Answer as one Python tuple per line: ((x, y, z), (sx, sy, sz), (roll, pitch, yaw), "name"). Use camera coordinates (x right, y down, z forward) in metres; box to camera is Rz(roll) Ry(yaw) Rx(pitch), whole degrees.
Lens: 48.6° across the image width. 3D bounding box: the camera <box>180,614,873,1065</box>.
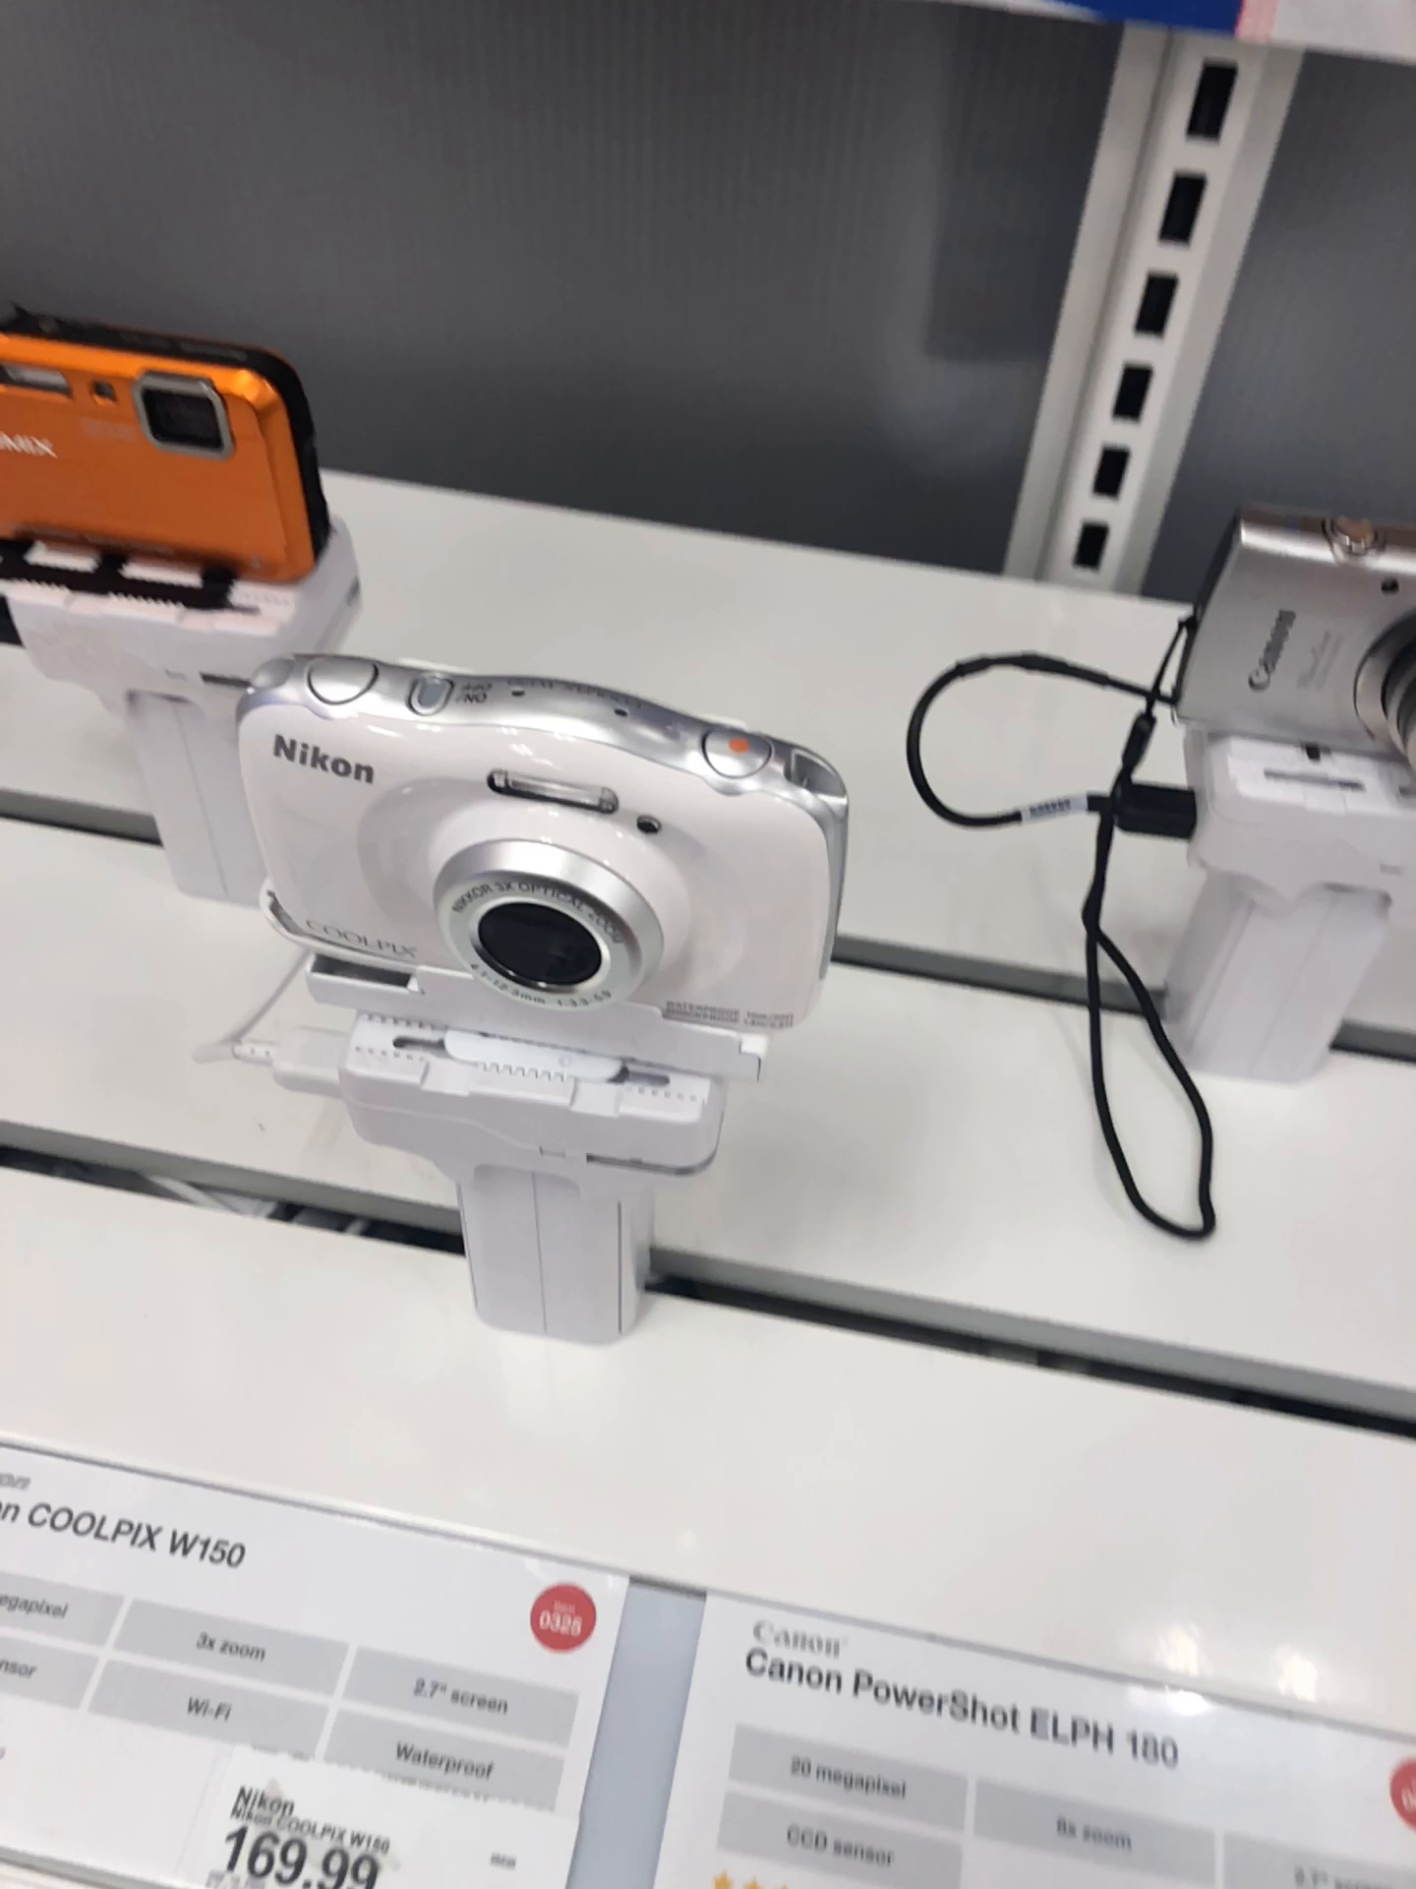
((-0.029, -0.017, 0.271), (0.105, 0.056, 0.032), (10, 50, 5), "camera")
